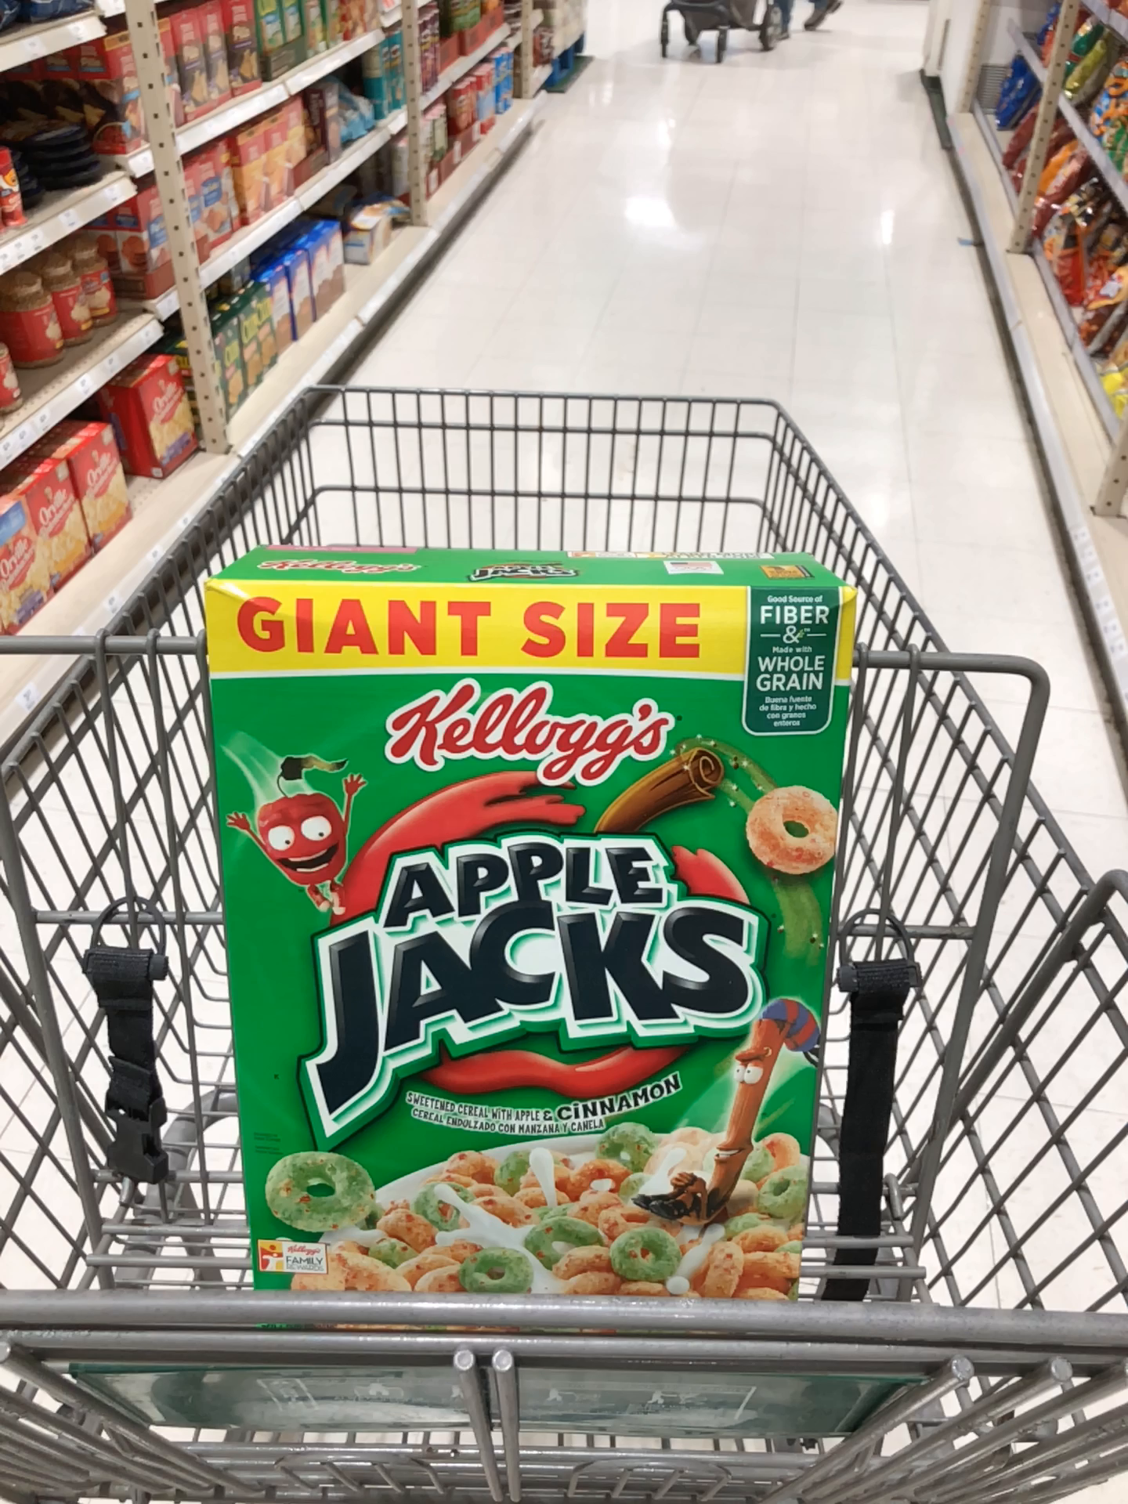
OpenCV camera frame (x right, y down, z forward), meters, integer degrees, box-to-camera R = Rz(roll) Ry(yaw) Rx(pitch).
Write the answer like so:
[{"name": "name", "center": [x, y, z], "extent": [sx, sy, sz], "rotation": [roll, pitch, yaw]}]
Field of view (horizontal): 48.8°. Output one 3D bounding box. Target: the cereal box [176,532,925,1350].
[{"name": "cereal box", "center": [-0.006, 0.079, 0.506], "extent": [0.250, 0.320, 0.090], "rotation": [0, 17, 0]}]
